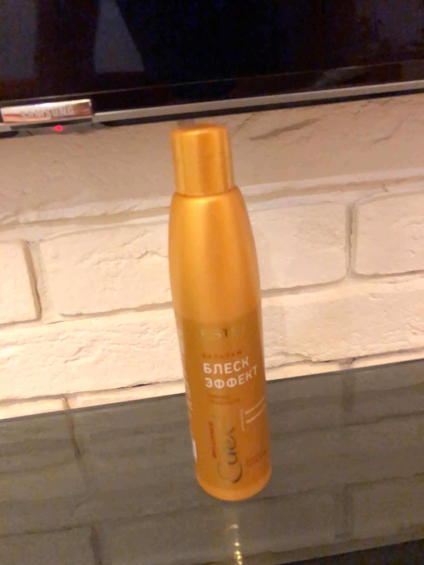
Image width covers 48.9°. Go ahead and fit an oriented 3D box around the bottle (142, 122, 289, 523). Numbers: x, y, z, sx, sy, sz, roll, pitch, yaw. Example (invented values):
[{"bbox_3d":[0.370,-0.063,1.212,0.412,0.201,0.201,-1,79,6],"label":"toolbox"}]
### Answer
[{"bbox_3d":[0.004,0.024,0.246,0.050,0.199,0.060,-9,22,-8],"label":"bottle"}]
